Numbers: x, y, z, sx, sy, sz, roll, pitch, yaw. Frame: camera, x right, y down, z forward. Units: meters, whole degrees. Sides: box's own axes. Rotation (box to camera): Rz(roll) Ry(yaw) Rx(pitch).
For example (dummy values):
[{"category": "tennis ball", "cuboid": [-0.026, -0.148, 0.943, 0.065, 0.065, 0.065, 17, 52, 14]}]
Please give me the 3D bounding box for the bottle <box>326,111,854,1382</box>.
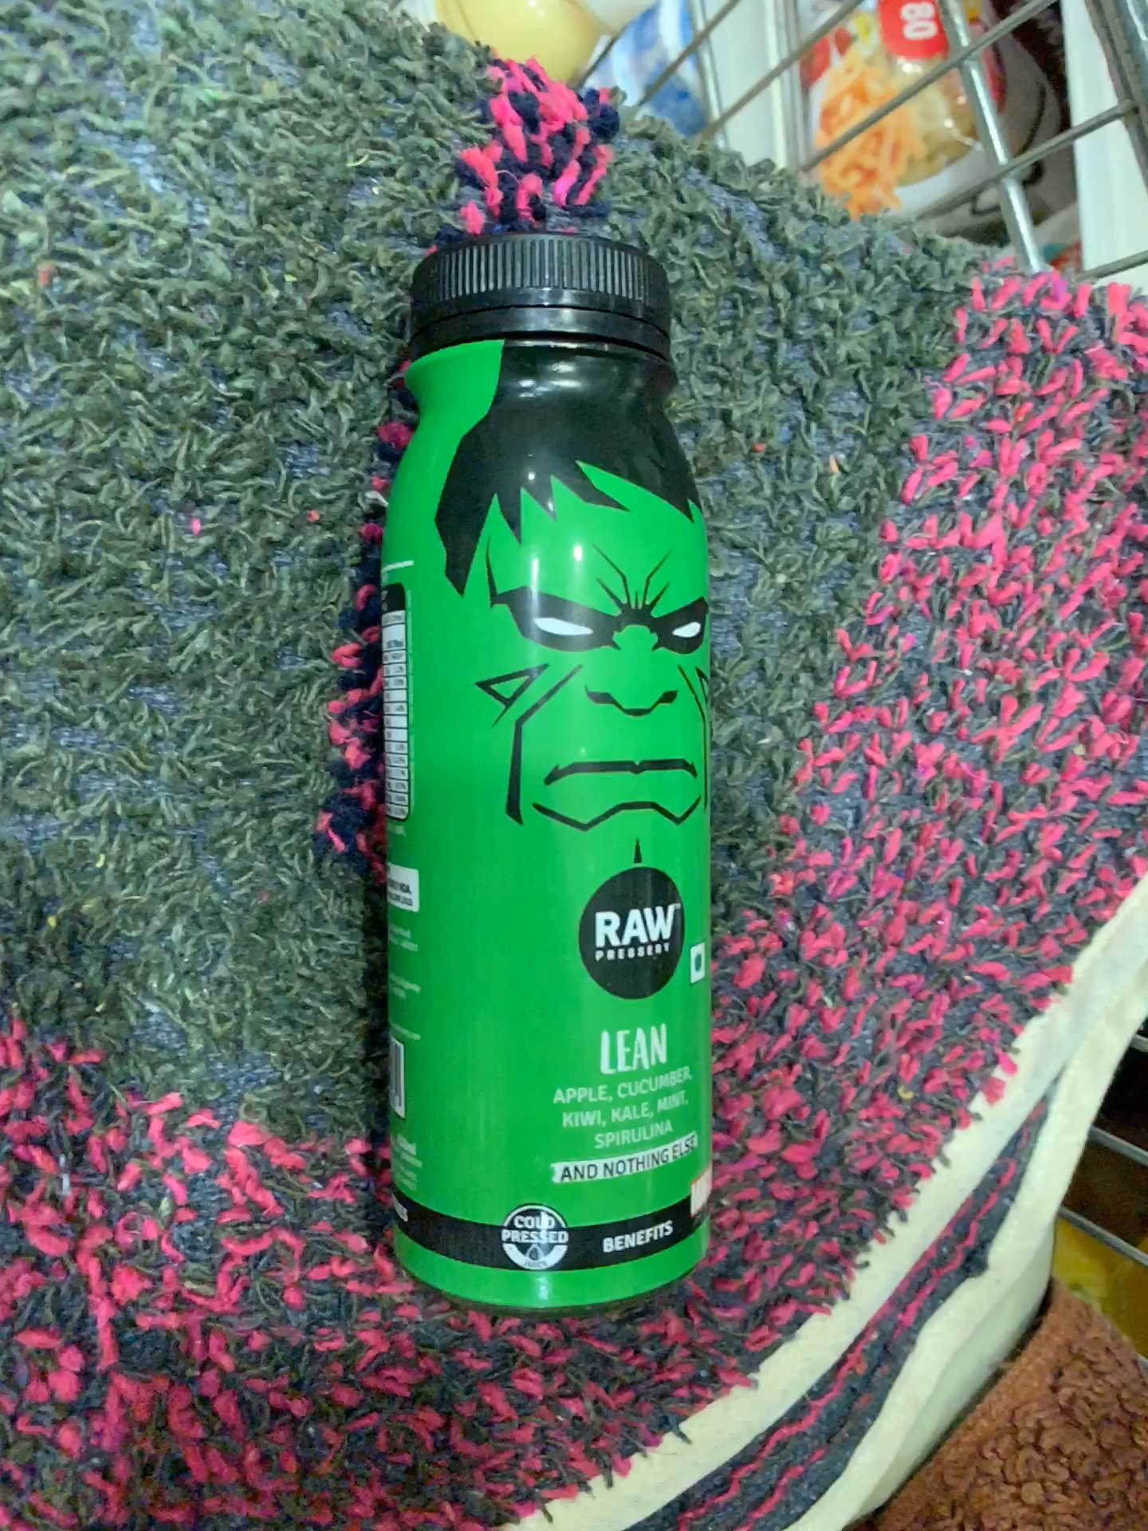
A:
[{"category": "bottle", "cuboid": [0.001, -0.003, 0.186, 0.060, 0.050, 0.160, -3, 91, -25]}]
